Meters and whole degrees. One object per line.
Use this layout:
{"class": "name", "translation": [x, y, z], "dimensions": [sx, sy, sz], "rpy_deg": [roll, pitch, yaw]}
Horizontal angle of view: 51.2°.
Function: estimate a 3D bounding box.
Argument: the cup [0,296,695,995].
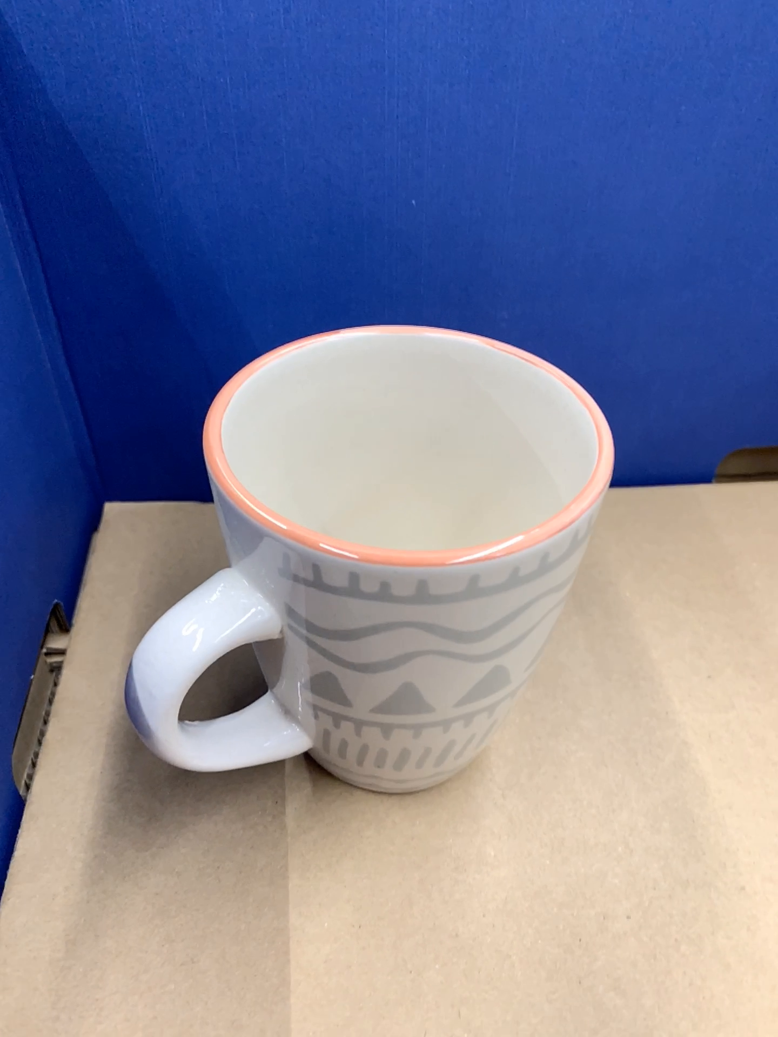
{"class": "cup", "translation": [-0.007, 0.017, 0.199], "dimensions": [0.097, 0.082, 0.119], "rpy_deg": [30, 48, 31]}
